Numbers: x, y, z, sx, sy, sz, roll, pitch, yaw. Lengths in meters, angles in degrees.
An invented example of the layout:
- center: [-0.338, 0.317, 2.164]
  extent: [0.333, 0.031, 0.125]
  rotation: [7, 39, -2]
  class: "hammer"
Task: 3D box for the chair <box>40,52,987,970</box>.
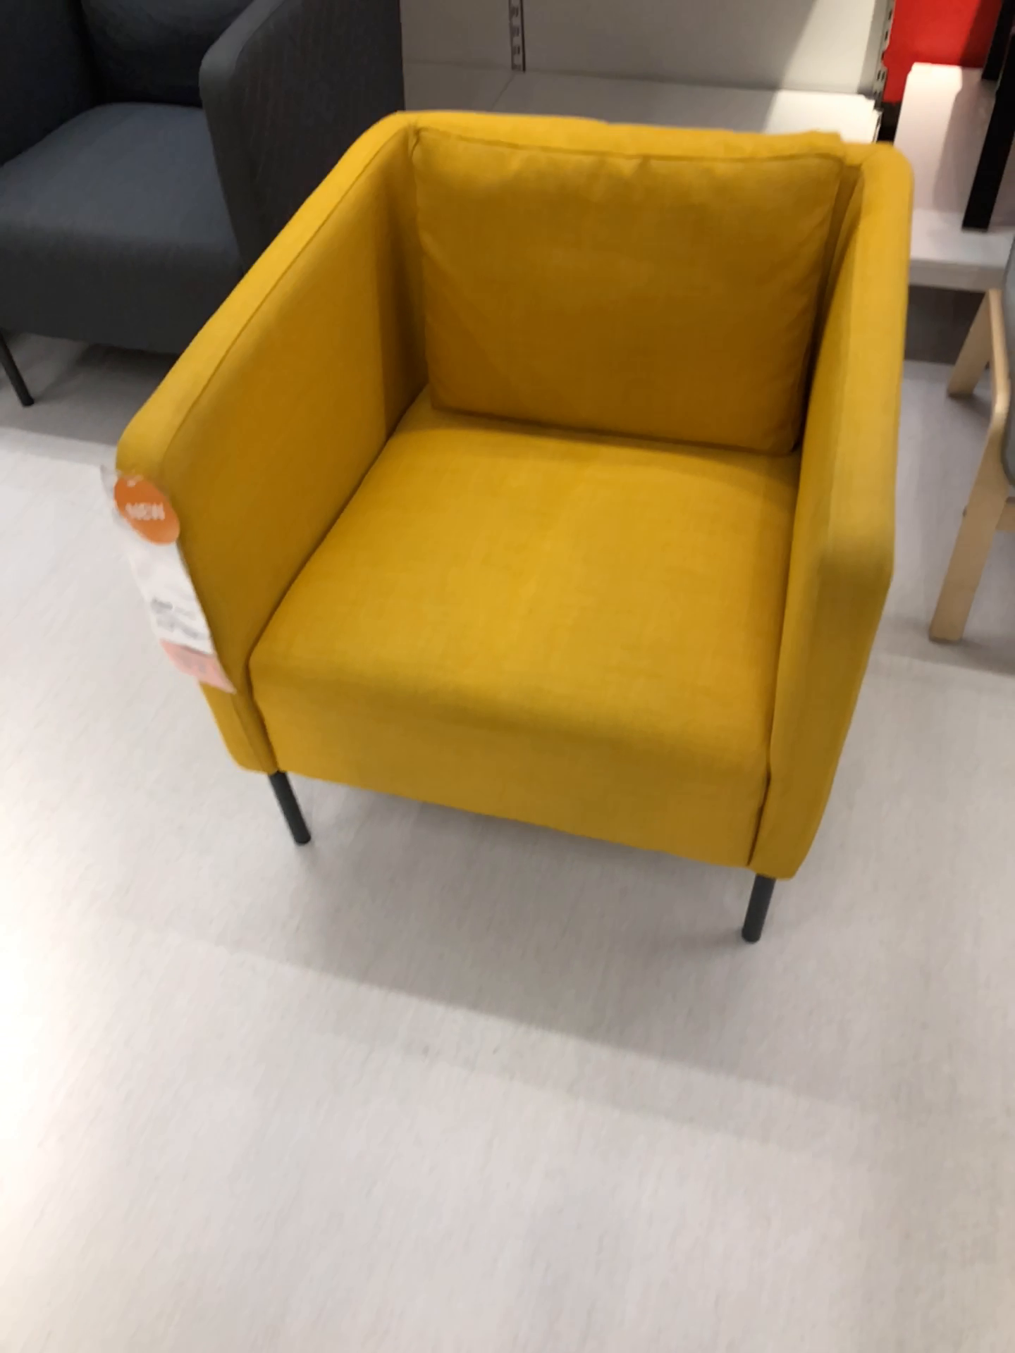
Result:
- center: [0.077, -0.196, 1.284]
  extent: [0.720, 0.696, 0.663]
  rotation: [10, 52, 12]
  class: "chair"
